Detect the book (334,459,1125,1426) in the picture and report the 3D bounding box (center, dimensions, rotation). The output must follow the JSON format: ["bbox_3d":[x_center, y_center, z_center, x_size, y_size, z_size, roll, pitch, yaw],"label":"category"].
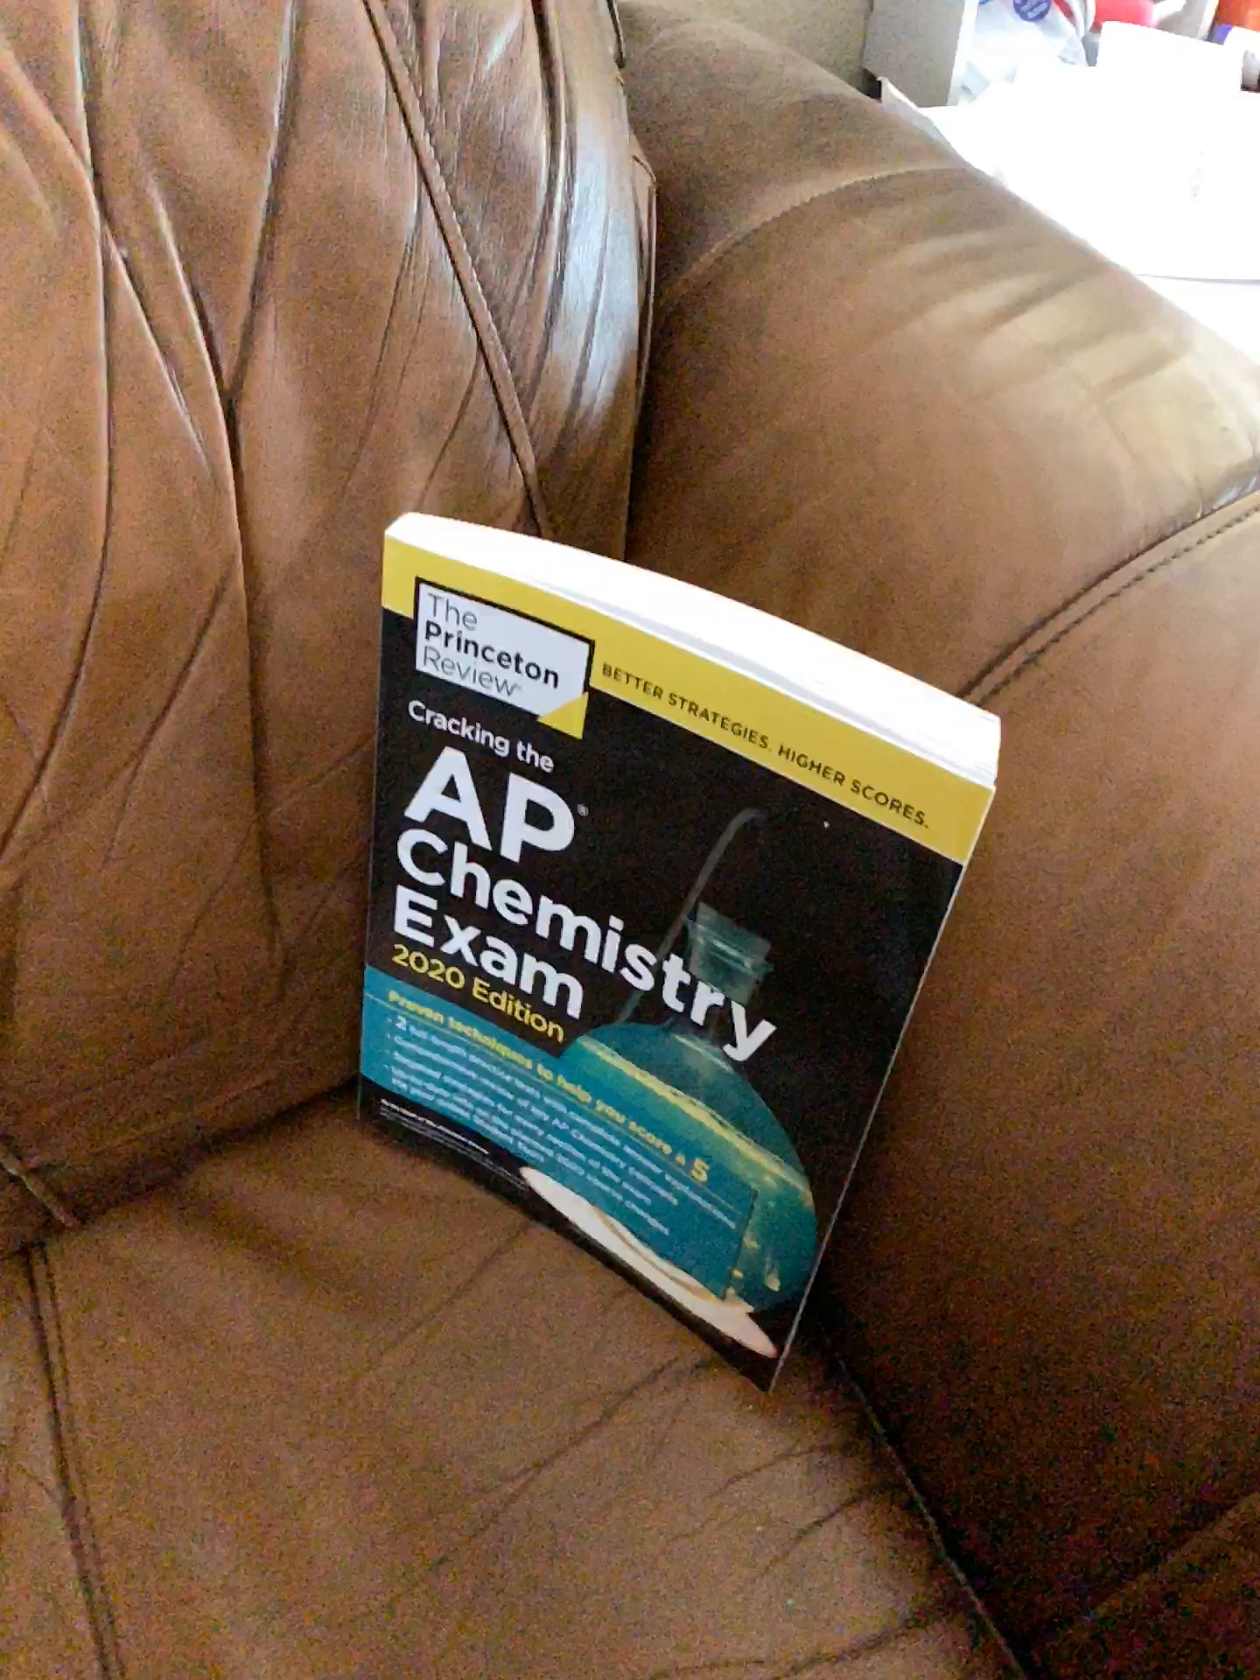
[{"bbox_3d":[0.002,0.056,0.474,0.240,0.319,0.040,27,44,20],"label":"book"}]
